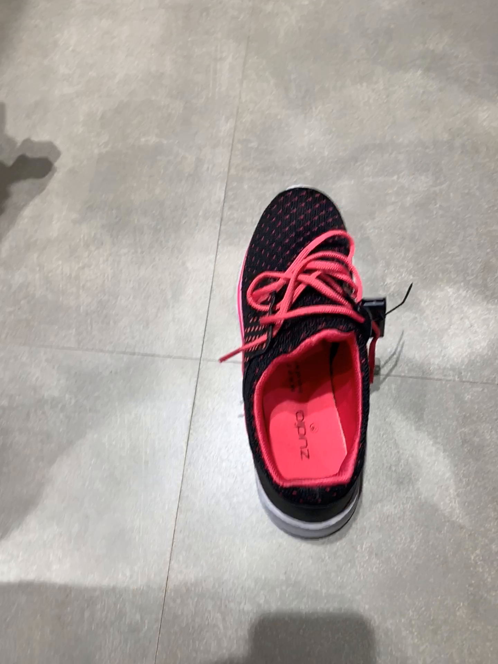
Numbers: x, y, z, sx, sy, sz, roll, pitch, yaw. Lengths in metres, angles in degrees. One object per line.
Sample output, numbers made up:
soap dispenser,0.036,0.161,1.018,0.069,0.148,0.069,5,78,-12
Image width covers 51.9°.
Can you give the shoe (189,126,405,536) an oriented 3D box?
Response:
shoe,0.028,0.002,0.360,0.110,0.110,0.263,-1,68,4
